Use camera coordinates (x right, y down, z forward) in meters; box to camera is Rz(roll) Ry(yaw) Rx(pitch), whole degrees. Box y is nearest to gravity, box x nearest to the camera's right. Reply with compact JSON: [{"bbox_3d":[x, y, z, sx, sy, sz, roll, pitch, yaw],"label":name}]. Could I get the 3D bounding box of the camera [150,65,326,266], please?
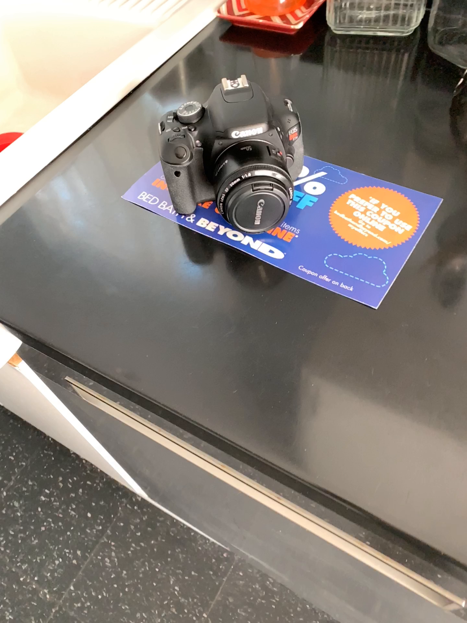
[{"bbox_3d":[0.002,-0.127,0.419,0.122,0.098,0.118,-10,54,-1],"label":"camera"}]
